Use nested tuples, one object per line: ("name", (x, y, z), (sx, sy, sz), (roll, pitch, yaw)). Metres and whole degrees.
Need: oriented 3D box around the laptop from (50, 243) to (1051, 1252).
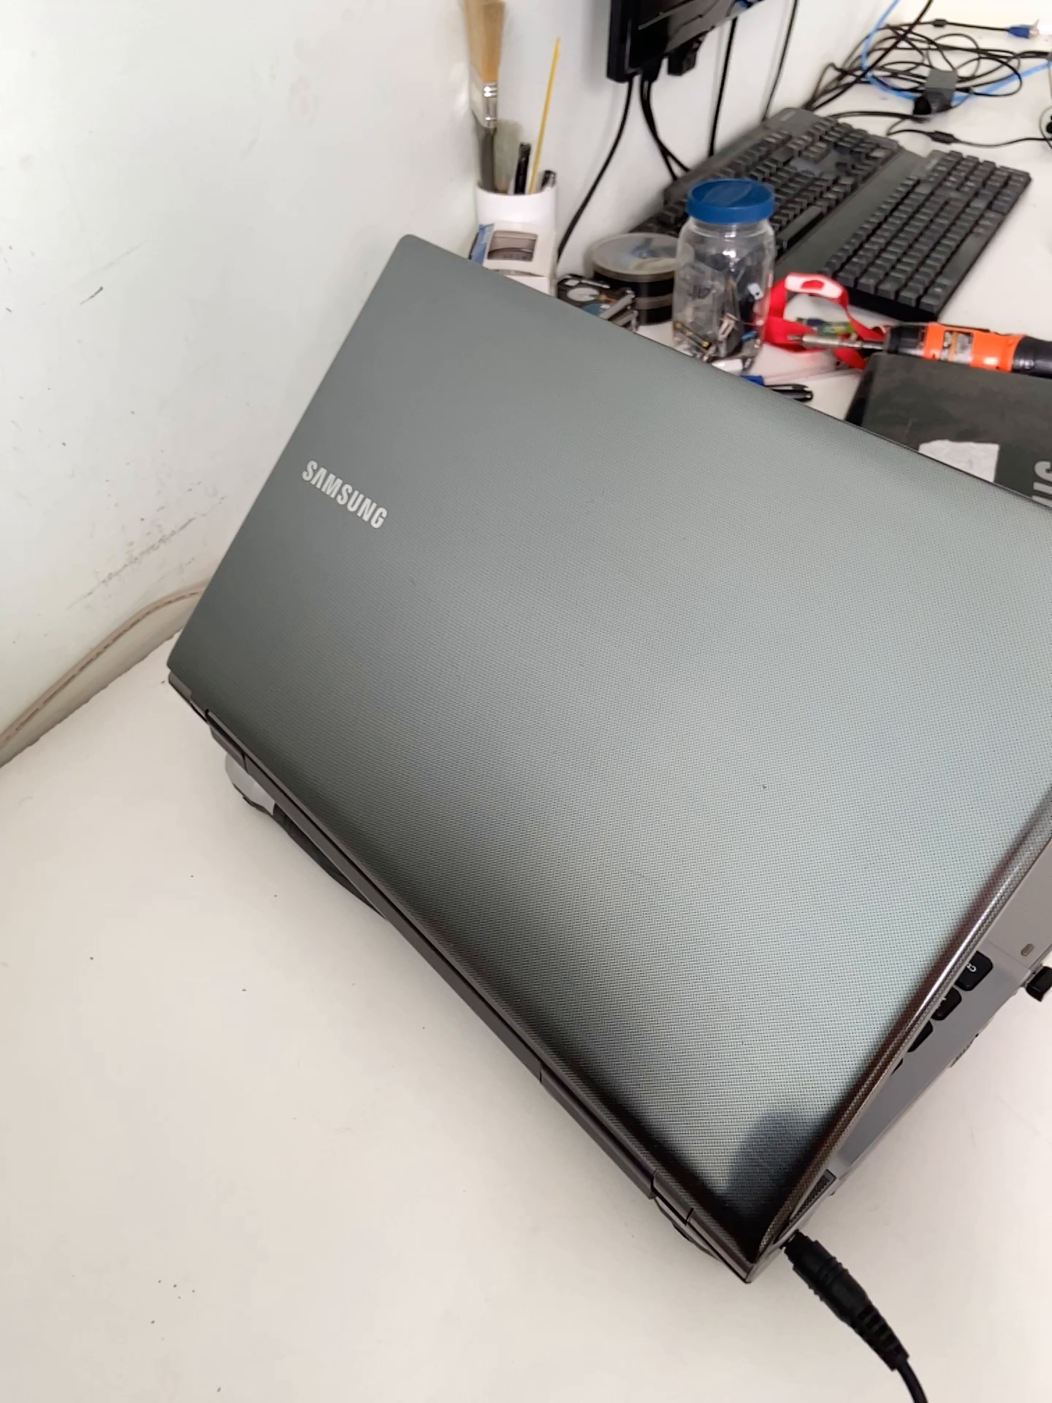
("laptop", (0.026, -0.033, 0.426), (0.231, 0.164, 0.359), (-30, 48, -31))
